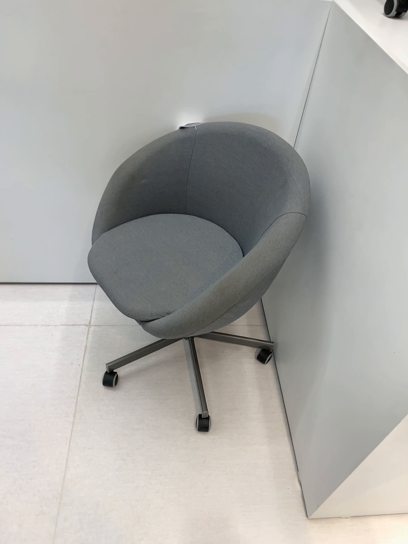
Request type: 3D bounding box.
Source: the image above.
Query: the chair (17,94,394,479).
[{"bbox_3d":[-0.052,0.021,1.387,0.711,0.827,0.732,-22,52,-26],"label":"chair"}]
